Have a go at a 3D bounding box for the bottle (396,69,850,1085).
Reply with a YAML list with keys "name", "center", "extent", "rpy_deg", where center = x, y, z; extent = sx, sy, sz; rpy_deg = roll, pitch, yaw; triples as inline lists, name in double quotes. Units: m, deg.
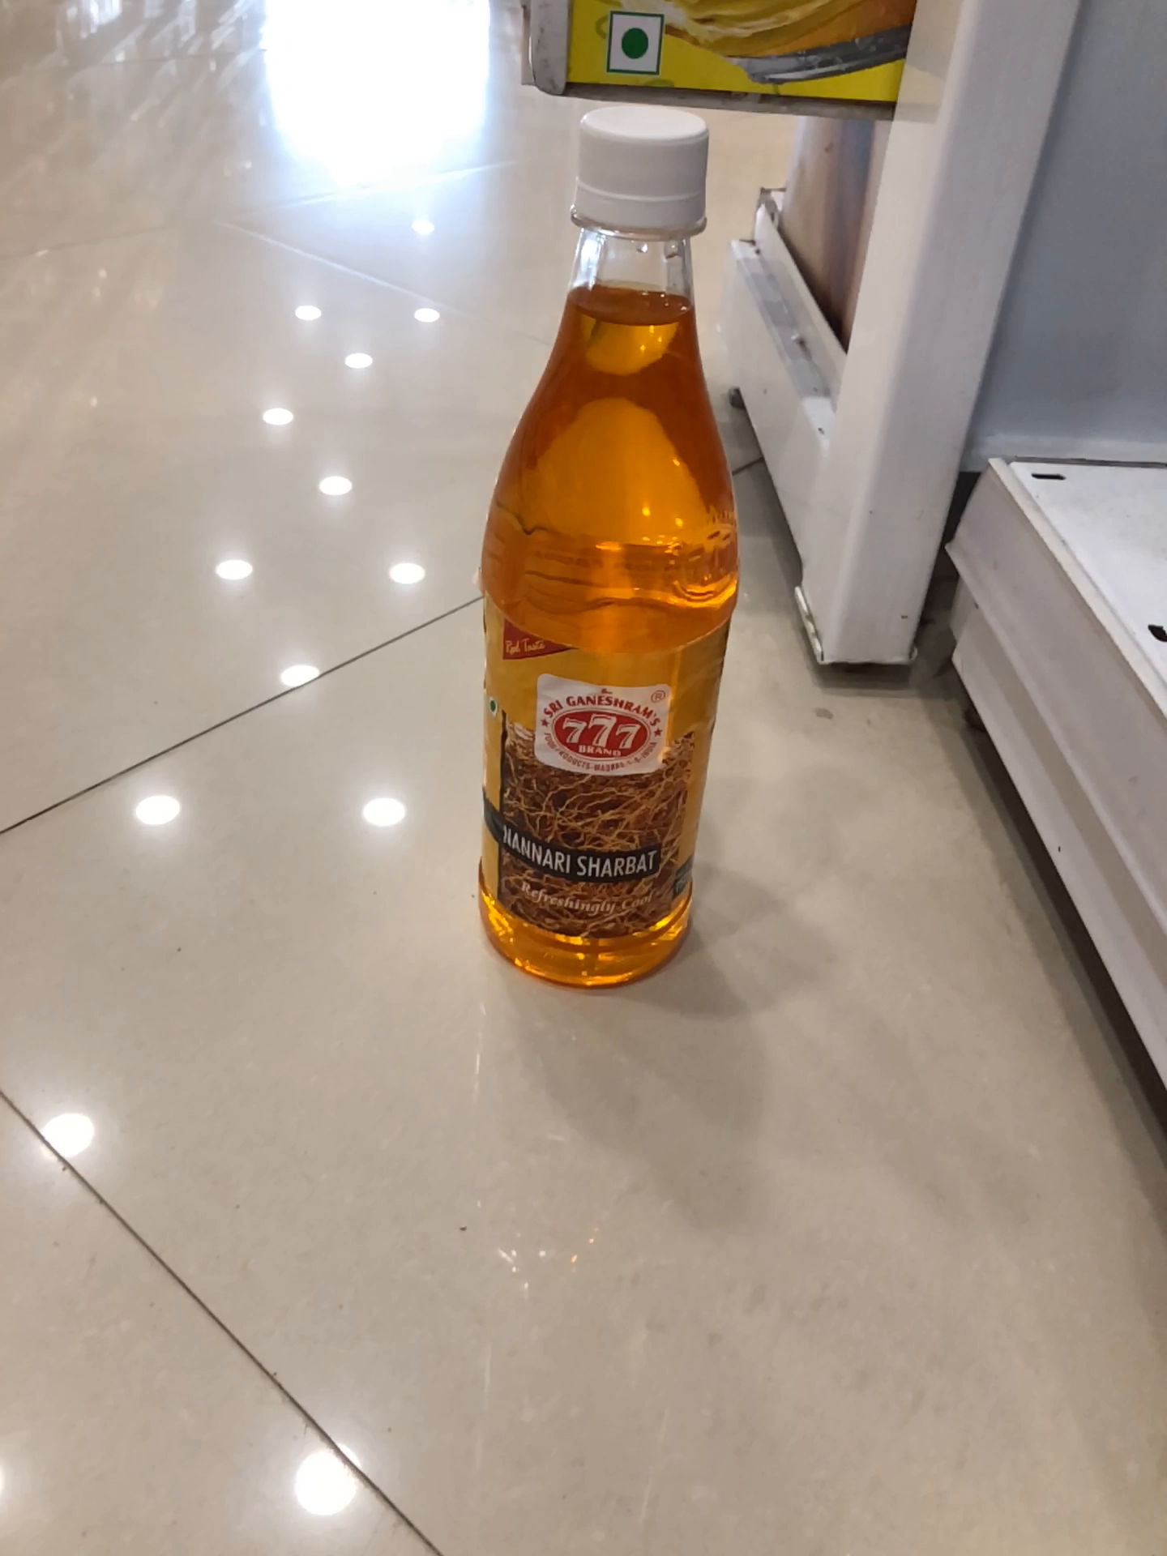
- name: "bottle"
  center: [0.005, -0.046, 0.413]
  extent: [0.100, 0.298, 0.101]
  rpy_deg: [3, 38, -3]
